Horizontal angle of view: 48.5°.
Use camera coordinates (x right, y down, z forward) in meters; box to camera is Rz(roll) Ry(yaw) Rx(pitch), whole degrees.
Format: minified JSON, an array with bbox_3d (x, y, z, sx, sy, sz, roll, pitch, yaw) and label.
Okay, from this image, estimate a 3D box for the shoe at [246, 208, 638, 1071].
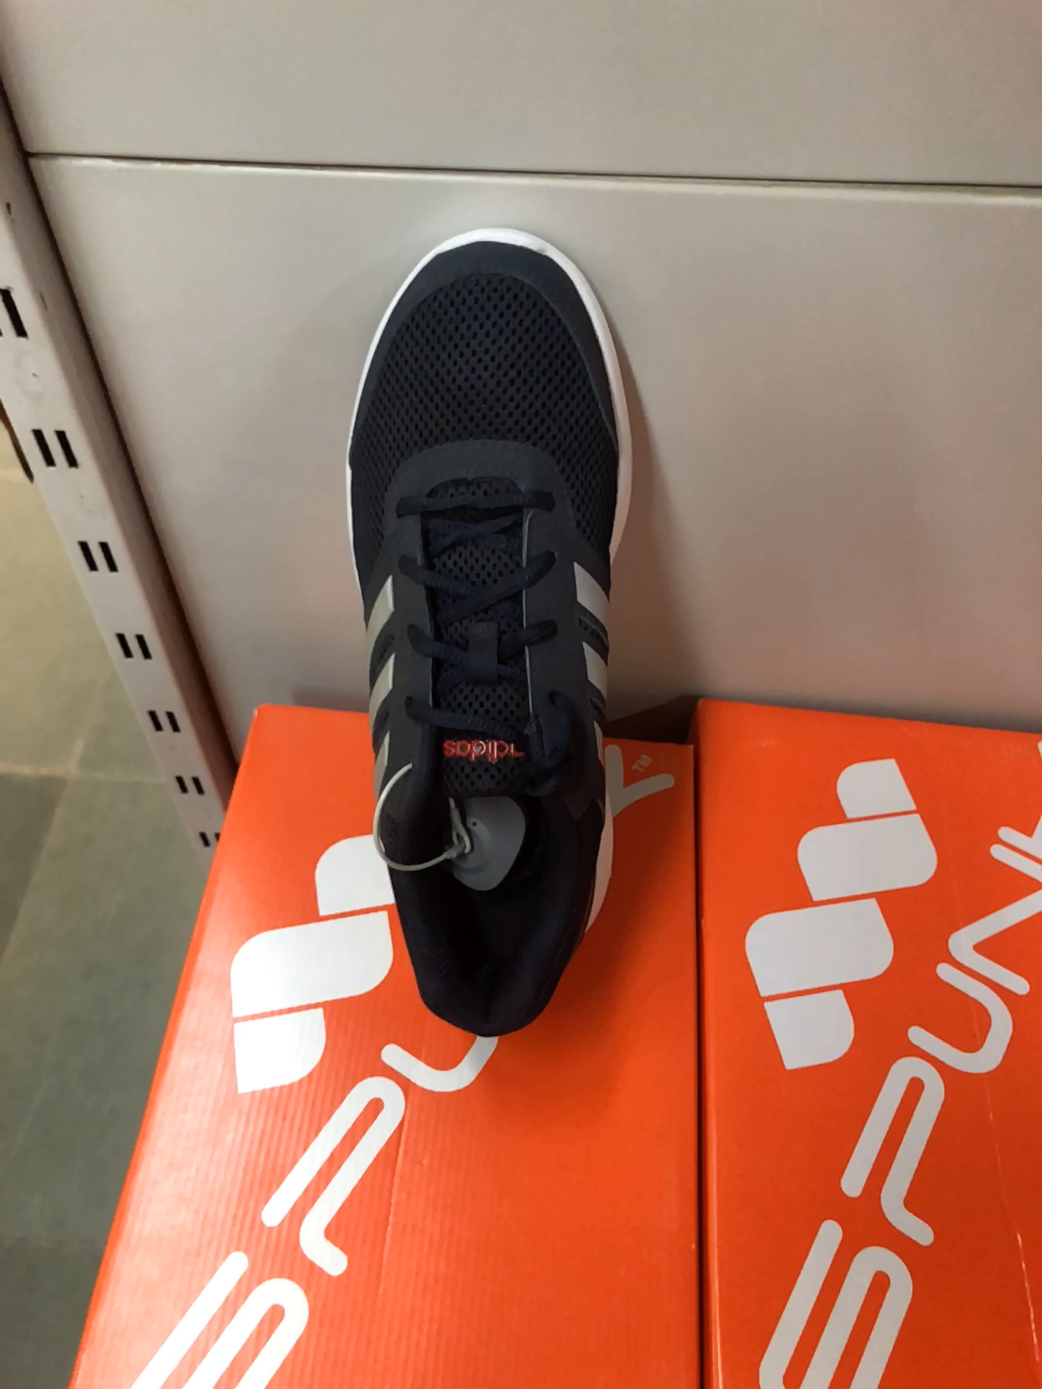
[{"bbox_3d":[-0.016,-0.016,0.406,0.110,0.271,0.088,0,14,8],"label":"shoe"}]
